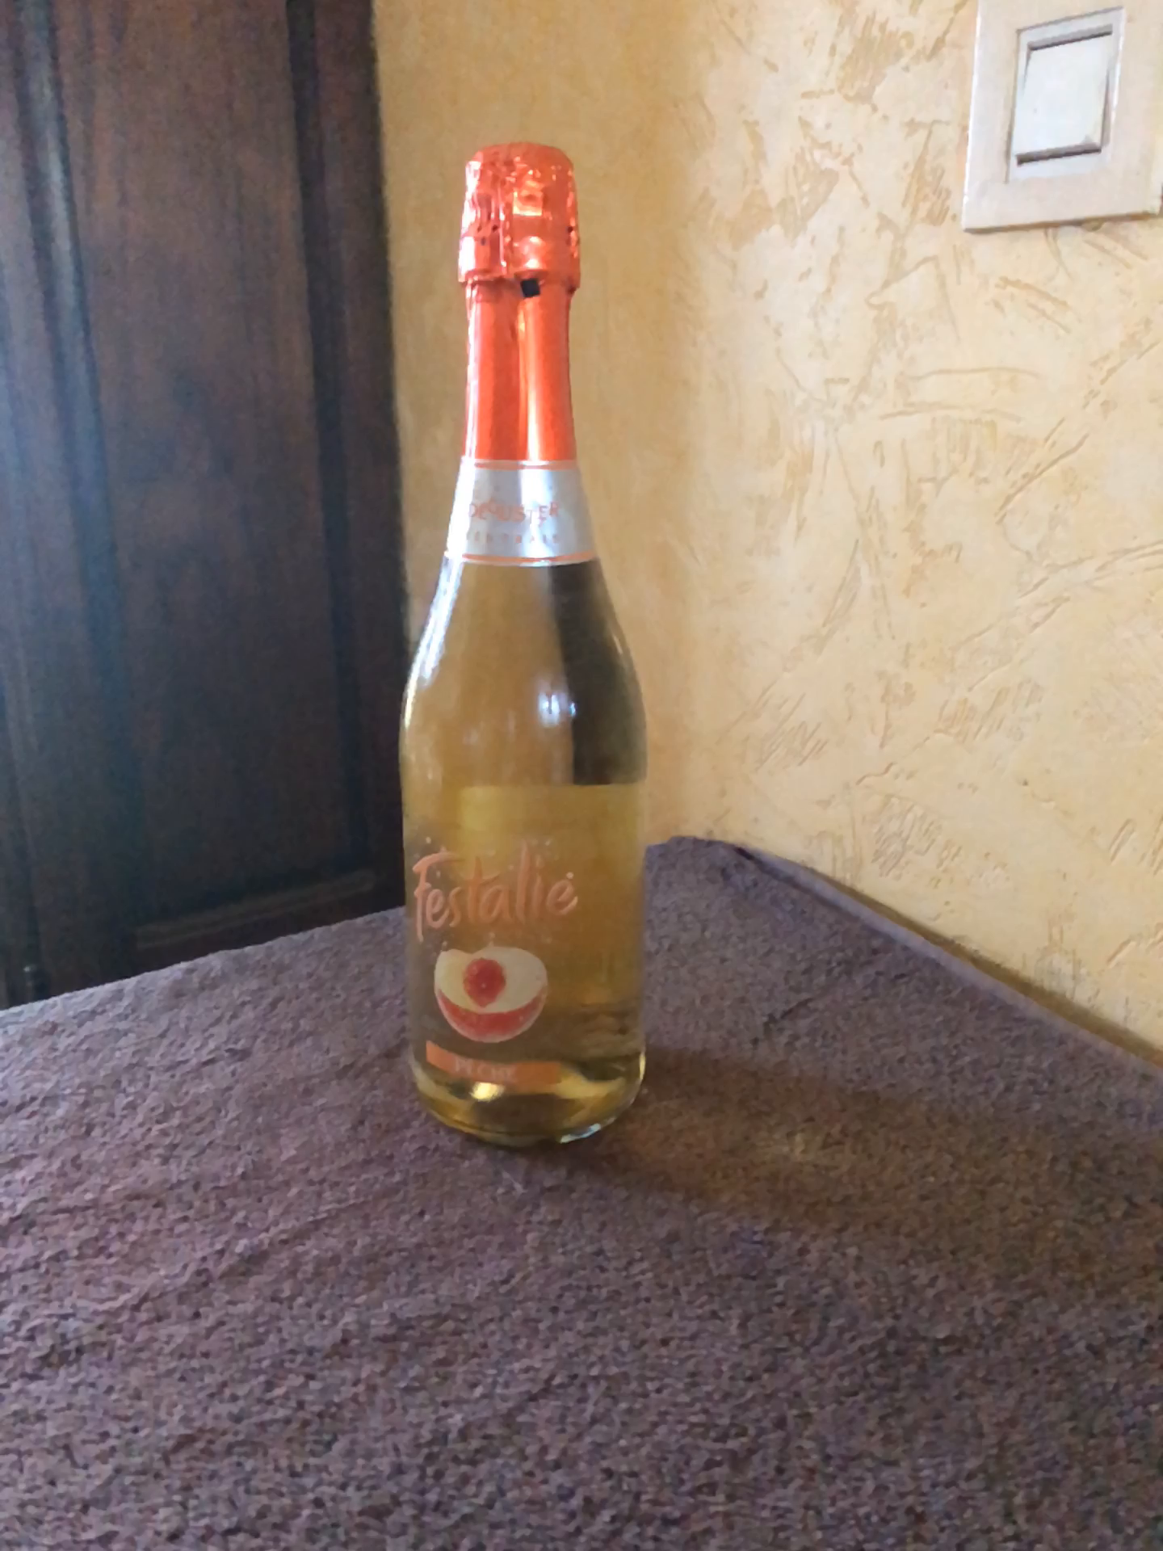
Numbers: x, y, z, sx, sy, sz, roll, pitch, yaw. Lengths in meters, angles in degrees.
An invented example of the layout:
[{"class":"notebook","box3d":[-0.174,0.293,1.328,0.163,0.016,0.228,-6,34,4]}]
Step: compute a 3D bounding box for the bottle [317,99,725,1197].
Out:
[{"class":"bottle","box3d":[-0.011,-0.033,0.409,0.090,0.309,0.090,-1,17,0]}]
